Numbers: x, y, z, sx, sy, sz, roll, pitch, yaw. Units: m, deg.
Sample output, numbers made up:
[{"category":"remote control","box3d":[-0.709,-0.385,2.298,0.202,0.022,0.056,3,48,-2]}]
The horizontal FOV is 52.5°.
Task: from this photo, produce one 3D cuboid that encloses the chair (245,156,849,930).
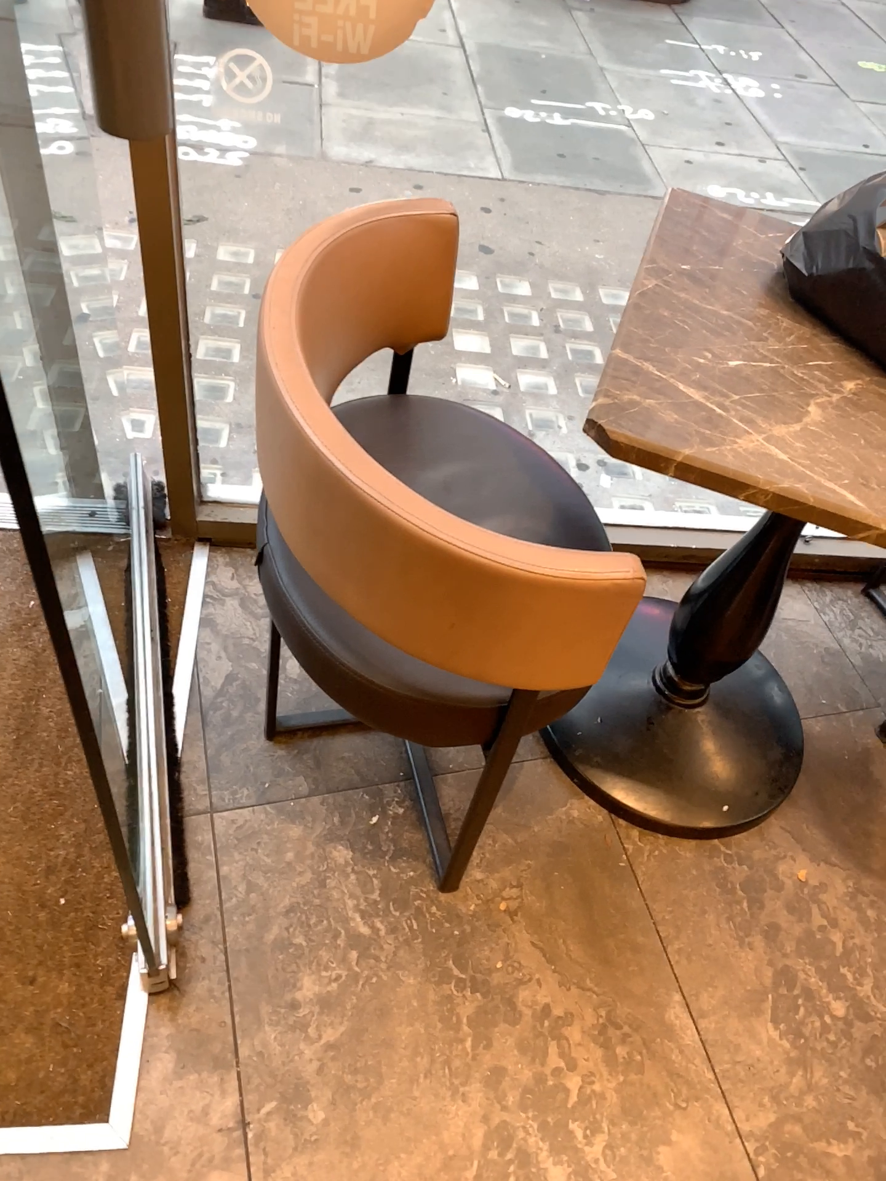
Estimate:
[{"category":"chair","box3d":[0.007,-0.061,1.217,0.510,0.654,0.767,1,49,-11]}]
